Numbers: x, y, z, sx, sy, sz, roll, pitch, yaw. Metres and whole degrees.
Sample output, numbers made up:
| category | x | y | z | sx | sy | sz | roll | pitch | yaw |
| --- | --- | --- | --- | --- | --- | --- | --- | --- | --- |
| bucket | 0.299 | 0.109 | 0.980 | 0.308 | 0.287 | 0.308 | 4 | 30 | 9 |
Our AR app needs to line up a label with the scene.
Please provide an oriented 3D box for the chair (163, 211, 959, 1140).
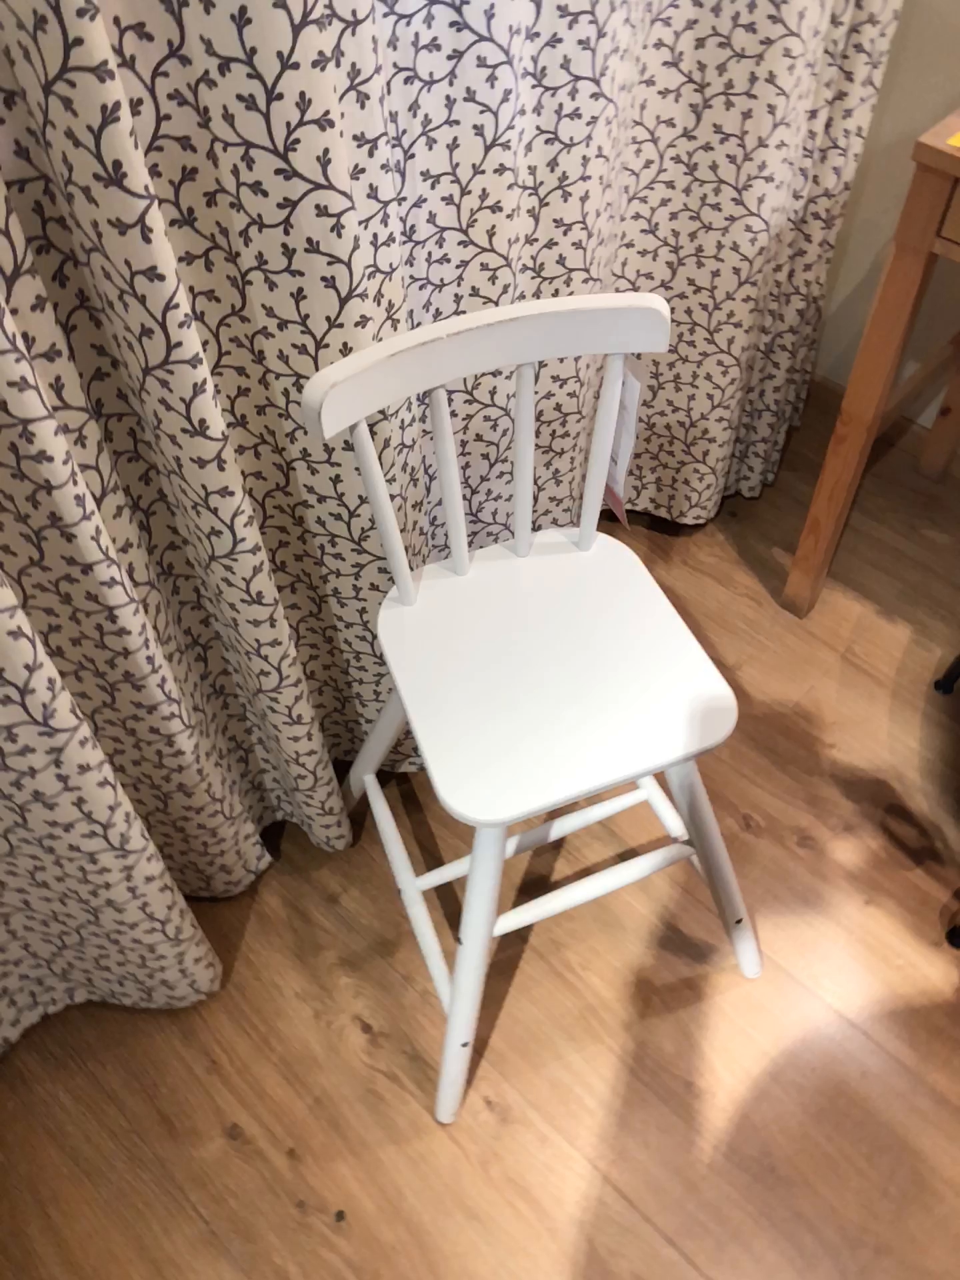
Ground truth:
| category | x | y | z | sx | sy | sz | roll | pitch | yaw |
| --- | --- | --- | --- | --- | --- | --- | --- | --- | --- |
| chair | 0.048 | 0.077 | 1.012 | 0.420 | 0.706 | 0.452 | -20 | 54 | -14 |
